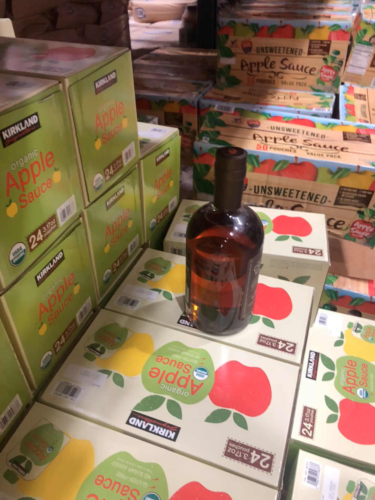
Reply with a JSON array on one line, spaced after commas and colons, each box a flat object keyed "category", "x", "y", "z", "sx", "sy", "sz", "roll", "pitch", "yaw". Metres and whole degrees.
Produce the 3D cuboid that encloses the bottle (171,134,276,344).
[{"category": "bottle", "x": 0.041, "y": -0.009, "z": 0.491, "sx": 0.090, "sy": 0.219, "sz": 0.100, "roll": 9, "pitch": 38, "yaw": 13}]
